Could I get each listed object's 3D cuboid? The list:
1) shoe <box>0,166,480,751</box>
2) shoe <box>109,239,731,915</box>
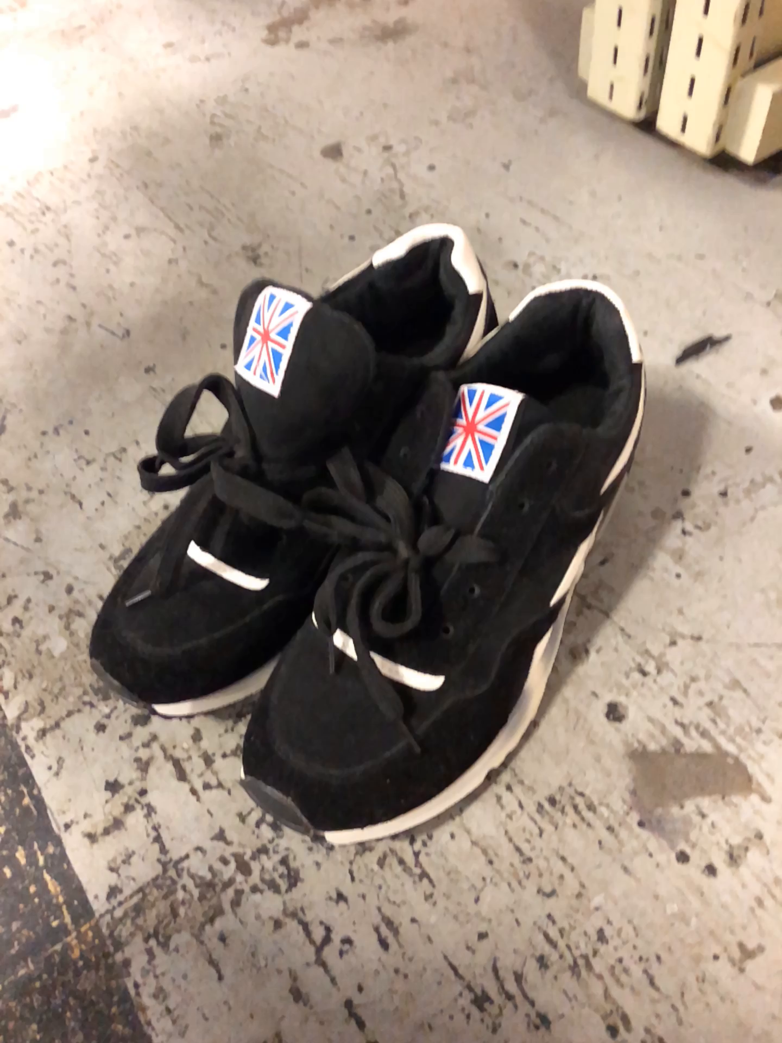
[{"bbox_3d":[-0.065,-0.036,0.399,0.100,0.119,0.231,28,63,24],"label":"shoe"},{"bbox_3d":[0.026,0.012,0.360,0.110,0.109,0.241,28,63,24],"label":"shoe"}]
